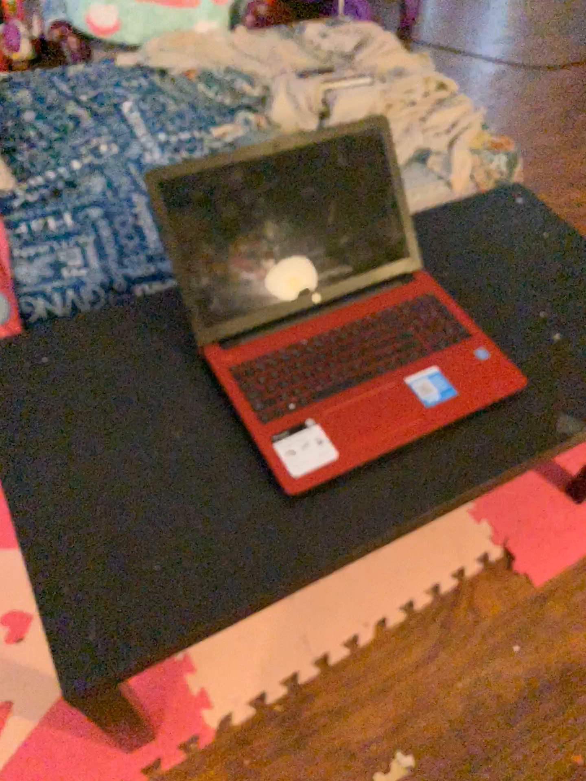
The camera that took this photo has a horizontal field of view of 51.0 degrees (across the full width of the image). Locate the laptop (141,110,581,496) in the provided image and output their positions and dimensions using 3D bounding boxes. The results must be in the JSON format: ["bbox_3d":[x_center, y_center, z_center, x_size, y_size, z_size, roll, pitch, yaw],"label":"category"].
[{"bbox_3d":[0.064,-0.146,0.808,0.376,0.169,0.410,-22,59,-20],"label":"laptop"}]
